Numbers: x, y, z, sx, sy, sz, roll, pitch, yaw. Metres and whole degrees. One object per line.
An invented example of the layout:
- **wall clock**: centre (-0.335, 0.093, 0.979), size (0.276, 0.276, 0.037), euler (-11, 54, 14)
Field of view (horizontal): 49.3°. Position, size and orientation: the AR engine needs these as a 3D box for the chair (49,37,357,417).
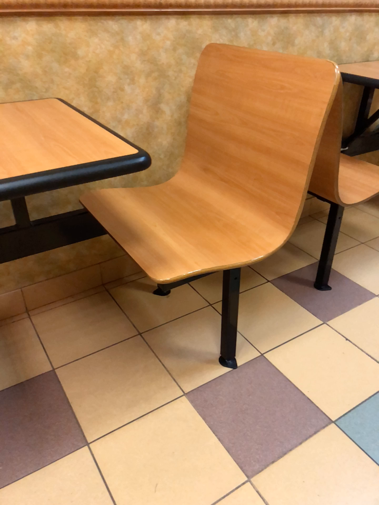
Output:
- **chair**: centre (-0.016, -0.133, 1.261), size (0.511, 0.885, 0.633), euler (-17, 35, -27)
